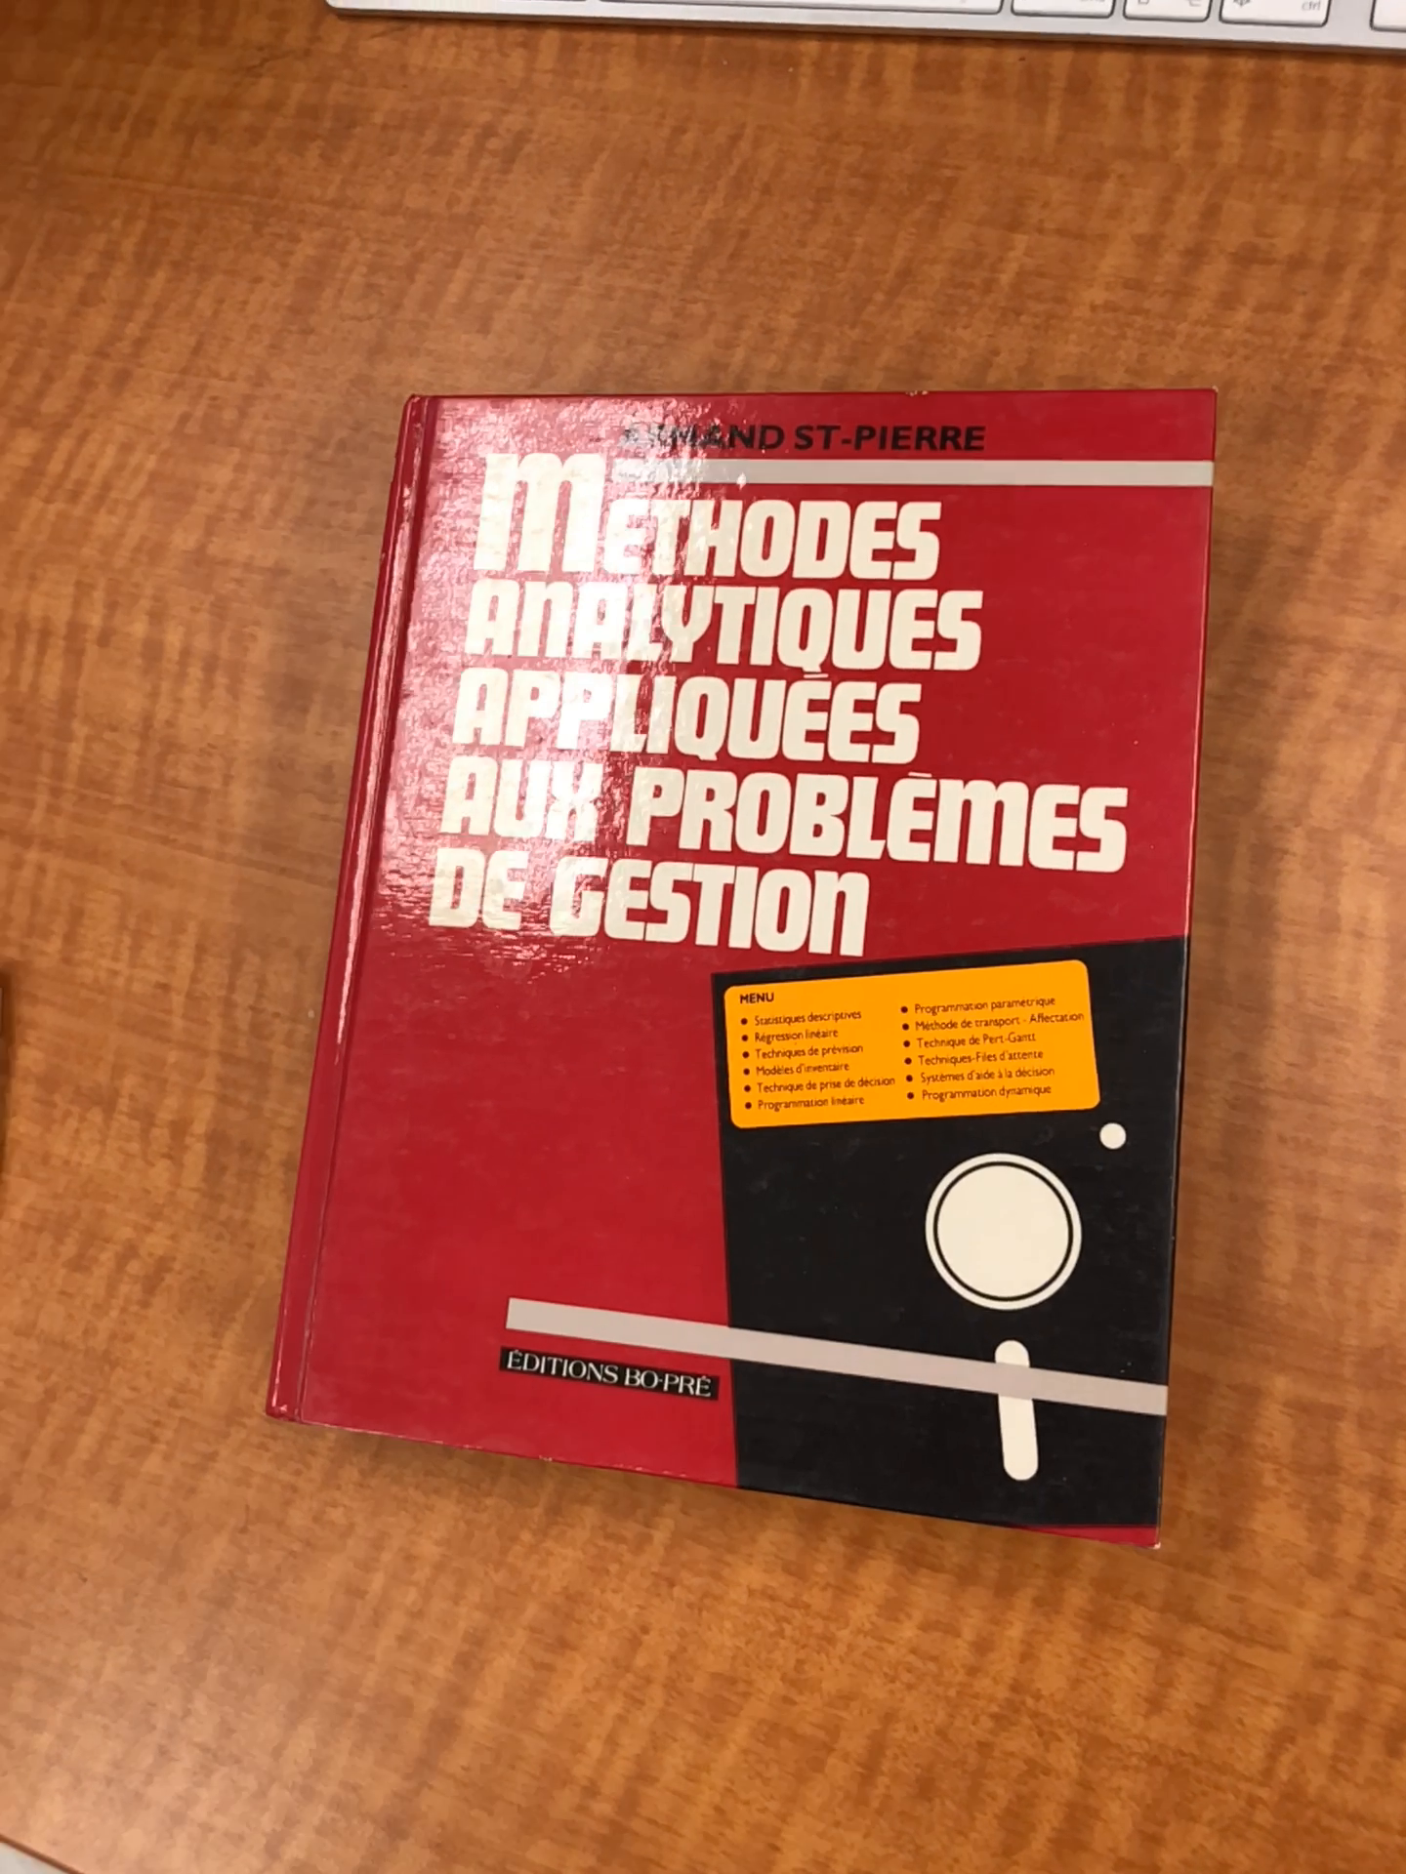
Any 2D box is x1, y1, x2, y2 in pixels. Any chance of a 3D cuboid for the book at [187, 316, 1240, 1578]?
[{"bbox_3d":[0.006,-0.008,0.350,0.200,0.050,0.250,4,81,13],"label":"book"}]
